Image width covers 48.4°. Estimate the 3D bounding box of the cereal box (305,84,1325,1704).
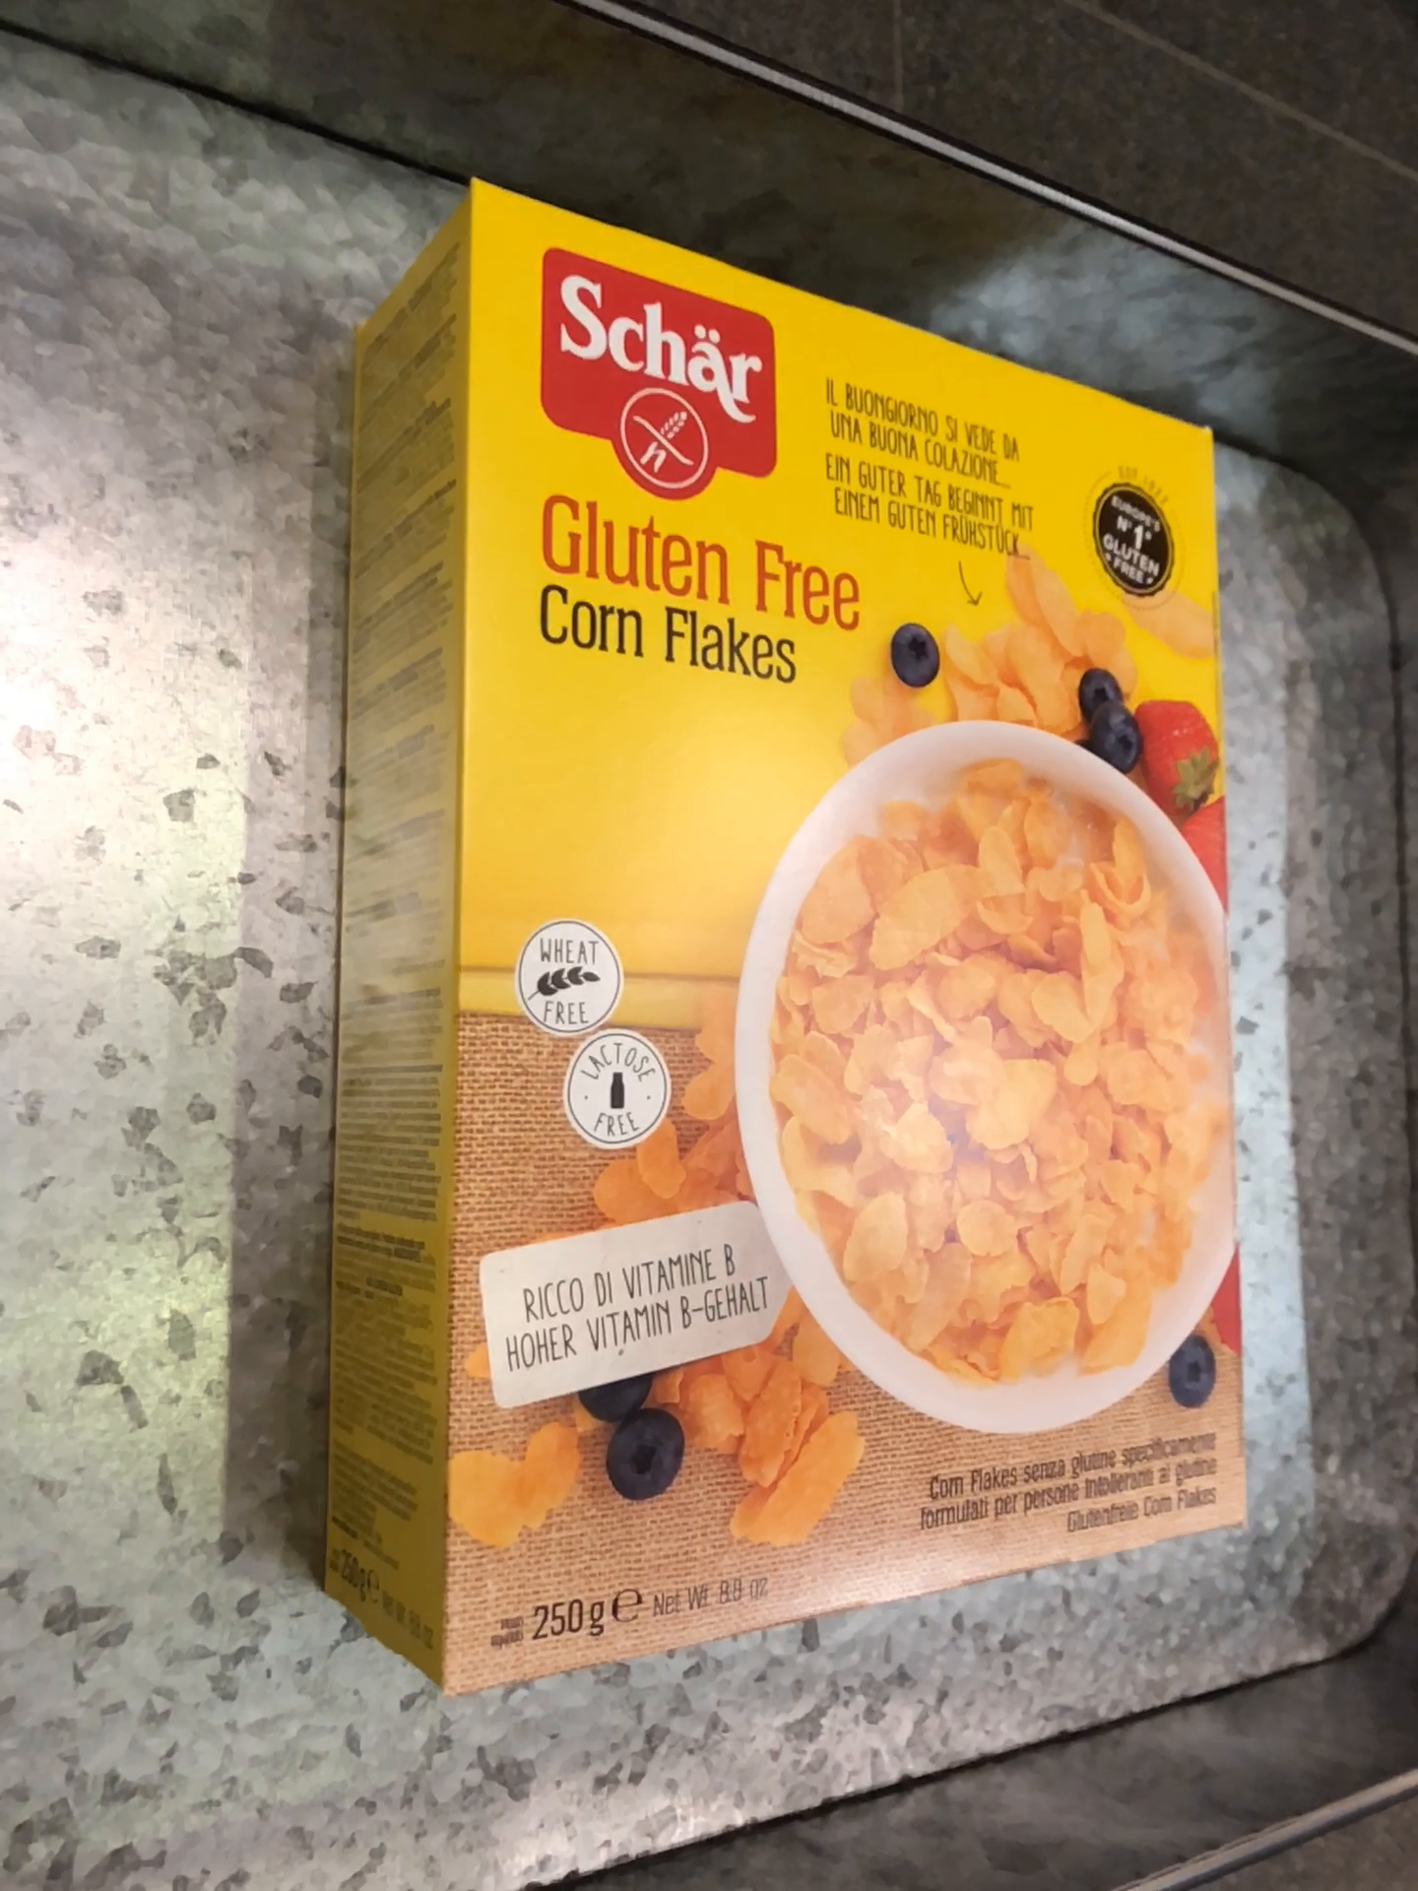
[{"bbox_3d":[0.030,-0.006,0.325,0.201,0.070,0.250,3,84,-33],"label":"cereal box"}]
